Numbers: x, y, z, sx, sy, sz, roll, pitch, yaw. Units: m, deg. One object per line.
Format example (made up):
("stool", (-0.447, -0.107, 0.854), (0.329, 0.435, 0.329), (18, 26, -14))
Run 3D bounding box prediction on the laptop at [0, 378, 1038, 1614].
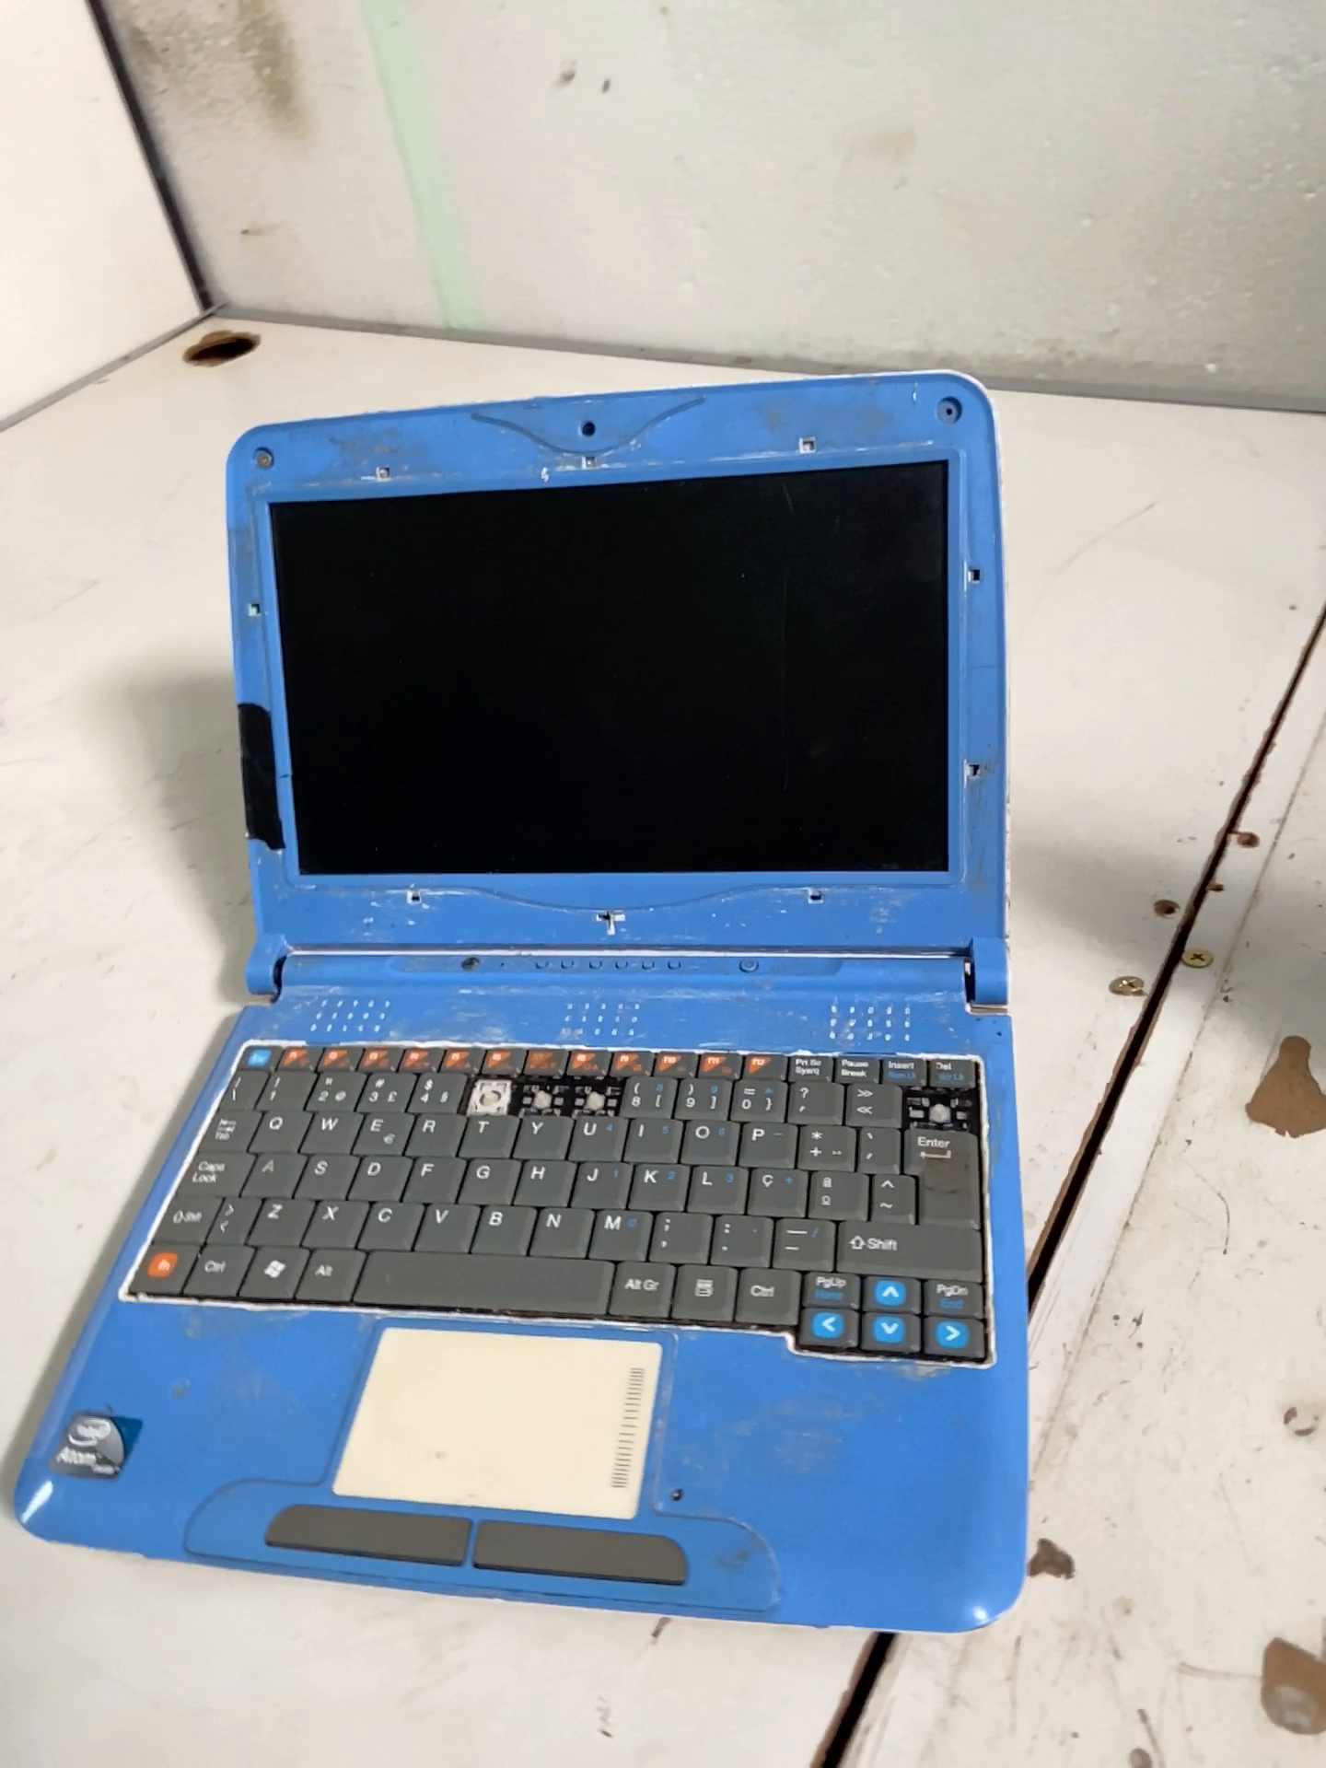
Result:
("laptop", (-0.035, 0.004, 0.372), (0.240, 0.149, 0.288), (-1, 43, 11))
